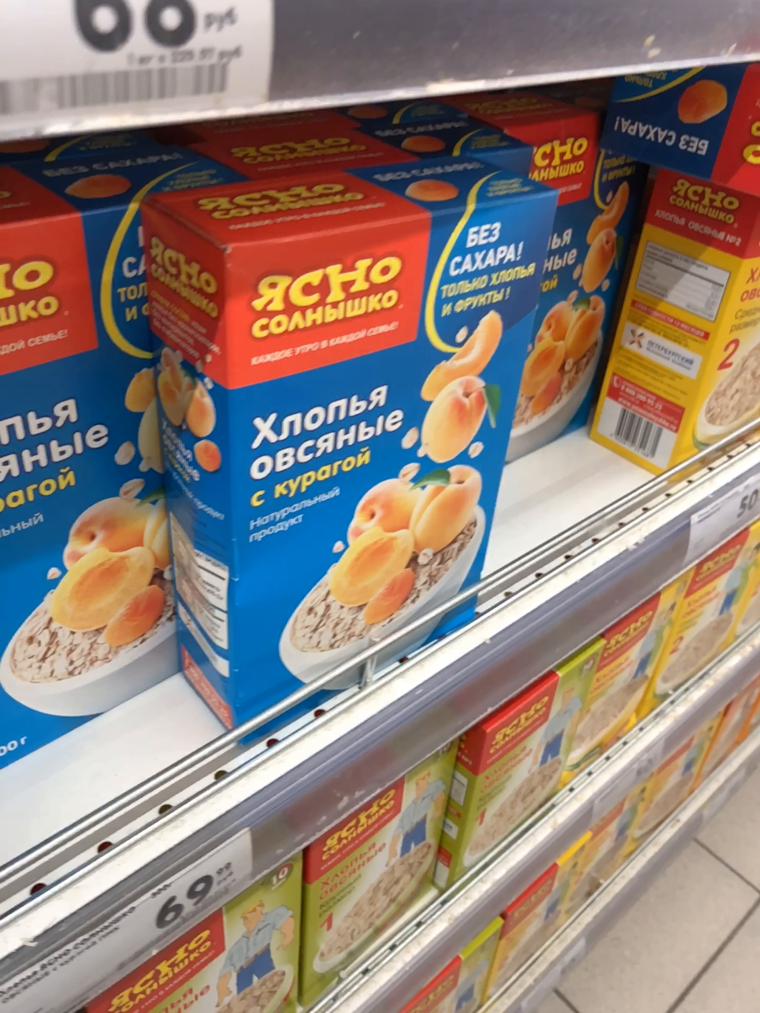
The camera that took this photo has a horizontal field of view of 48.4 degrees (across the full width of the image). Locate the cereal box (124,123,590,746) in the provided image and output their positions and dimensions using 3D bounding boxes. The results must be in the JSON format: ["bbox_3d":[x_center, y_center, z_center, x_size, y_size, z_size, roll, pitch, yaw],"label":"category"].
[{"bbox_3d":[-0.008,-0.026,0.331,0.150,0.209,0.050,-23,44,-33],"label":"cereal box"}]
